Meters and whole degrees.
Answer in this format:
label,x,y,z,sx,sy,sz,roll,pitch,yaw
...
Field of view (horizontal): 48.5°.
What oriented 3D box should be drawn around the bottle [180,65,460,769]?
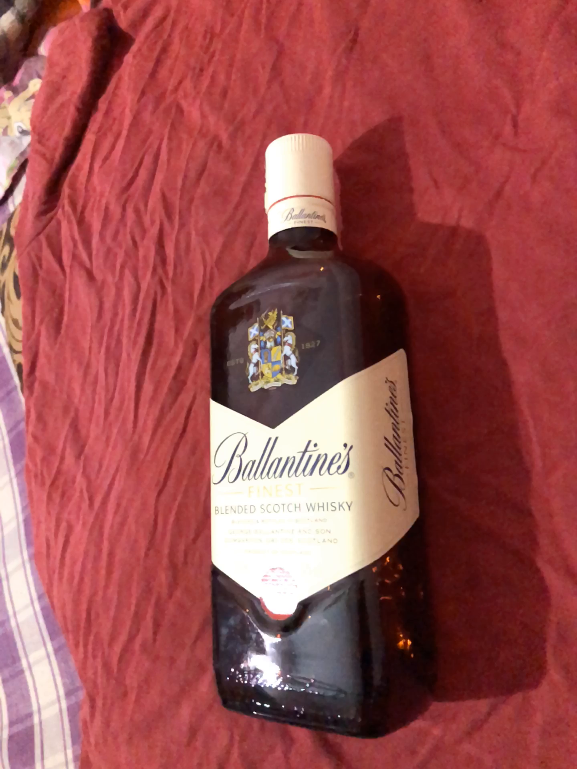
label,x,y,z,sx,sy,sz,roll,pitch,yaw
bottle,0.008,0.009,0.271,0.090,0.050,0.250,-9,79,33
